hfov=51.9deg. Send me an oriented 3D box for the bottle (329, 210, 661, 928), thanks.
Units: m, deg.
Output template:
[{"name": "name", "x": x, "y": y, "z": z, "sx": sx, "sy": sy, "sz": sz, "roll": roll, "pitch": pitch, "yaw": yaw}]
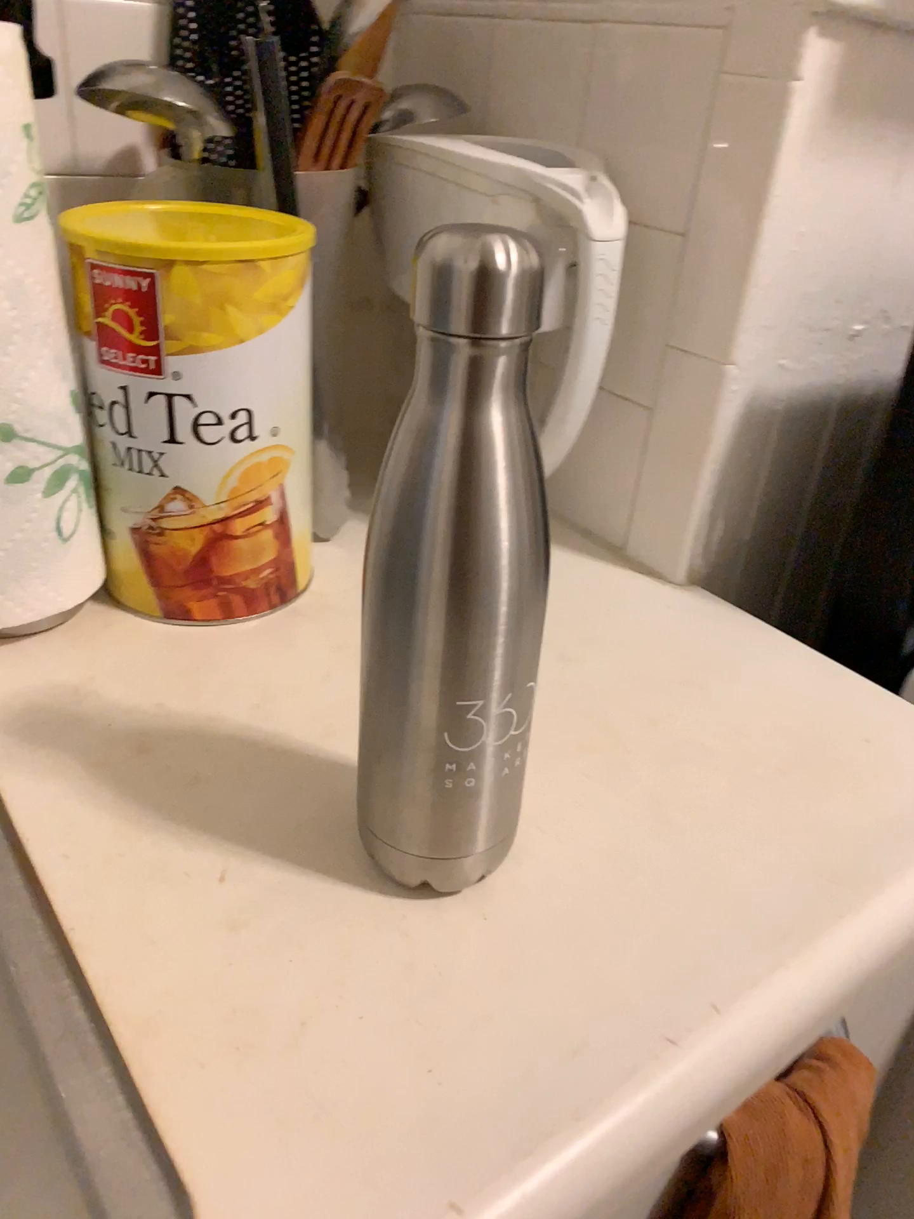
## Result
[{"name": "bottle", "x": 0.002, "y": -0.007, "z": 0.346, "sx": 0.070, "sy": 0.249, "sz": 0.070, "roll": 4, "pitch": 29, "yaw": -2}]
